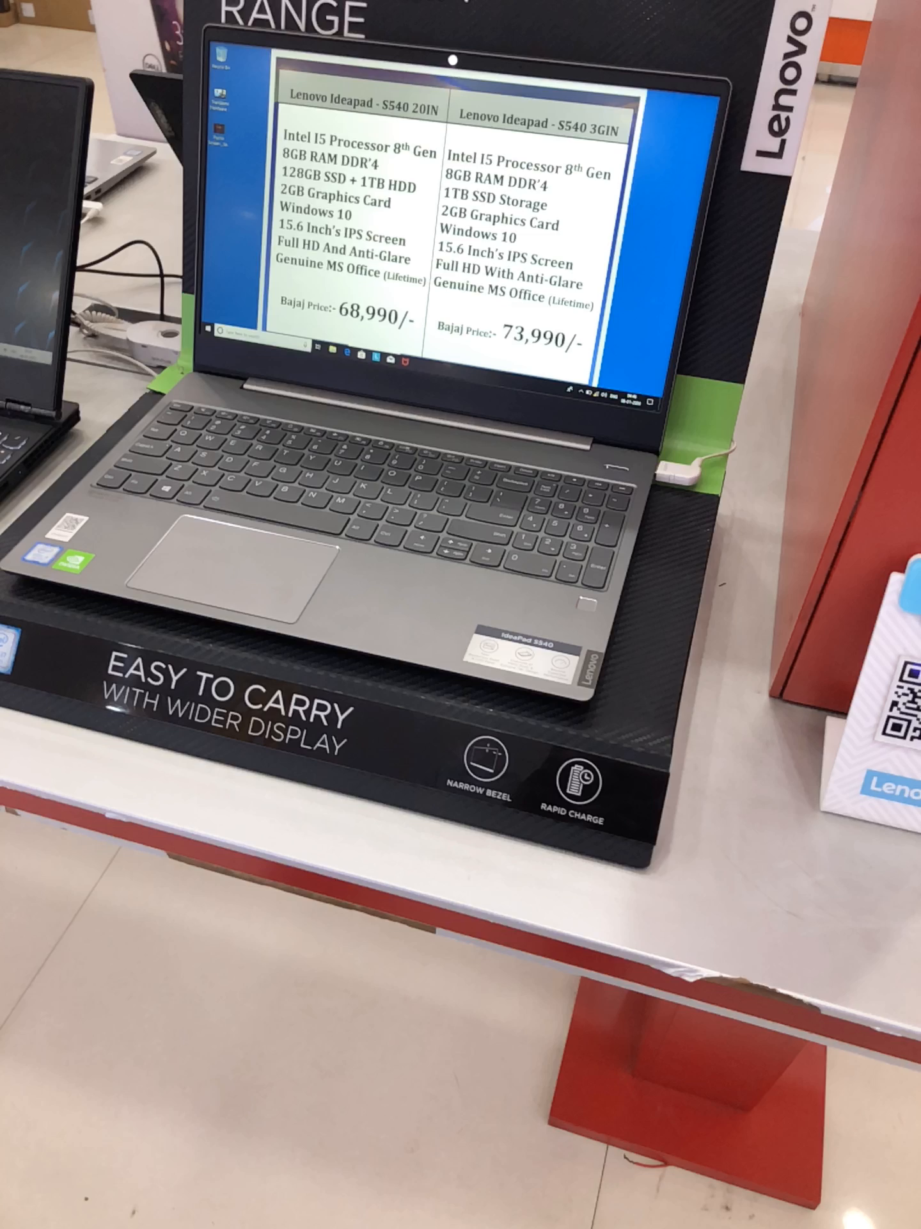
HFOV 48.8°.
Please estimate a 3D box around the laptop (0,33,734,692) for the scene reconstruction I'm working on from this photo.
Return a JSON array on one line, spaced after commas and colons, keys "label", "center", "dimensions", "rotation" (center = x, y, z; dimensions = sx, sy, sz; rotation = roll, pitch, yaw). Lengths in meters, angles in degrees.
[{"label": "laptop", "center": [-0.050, -0.171, 0.589], "dimensions": [0.335, 0.194, 0.326], "rotation": [12, 45, 11]}]
